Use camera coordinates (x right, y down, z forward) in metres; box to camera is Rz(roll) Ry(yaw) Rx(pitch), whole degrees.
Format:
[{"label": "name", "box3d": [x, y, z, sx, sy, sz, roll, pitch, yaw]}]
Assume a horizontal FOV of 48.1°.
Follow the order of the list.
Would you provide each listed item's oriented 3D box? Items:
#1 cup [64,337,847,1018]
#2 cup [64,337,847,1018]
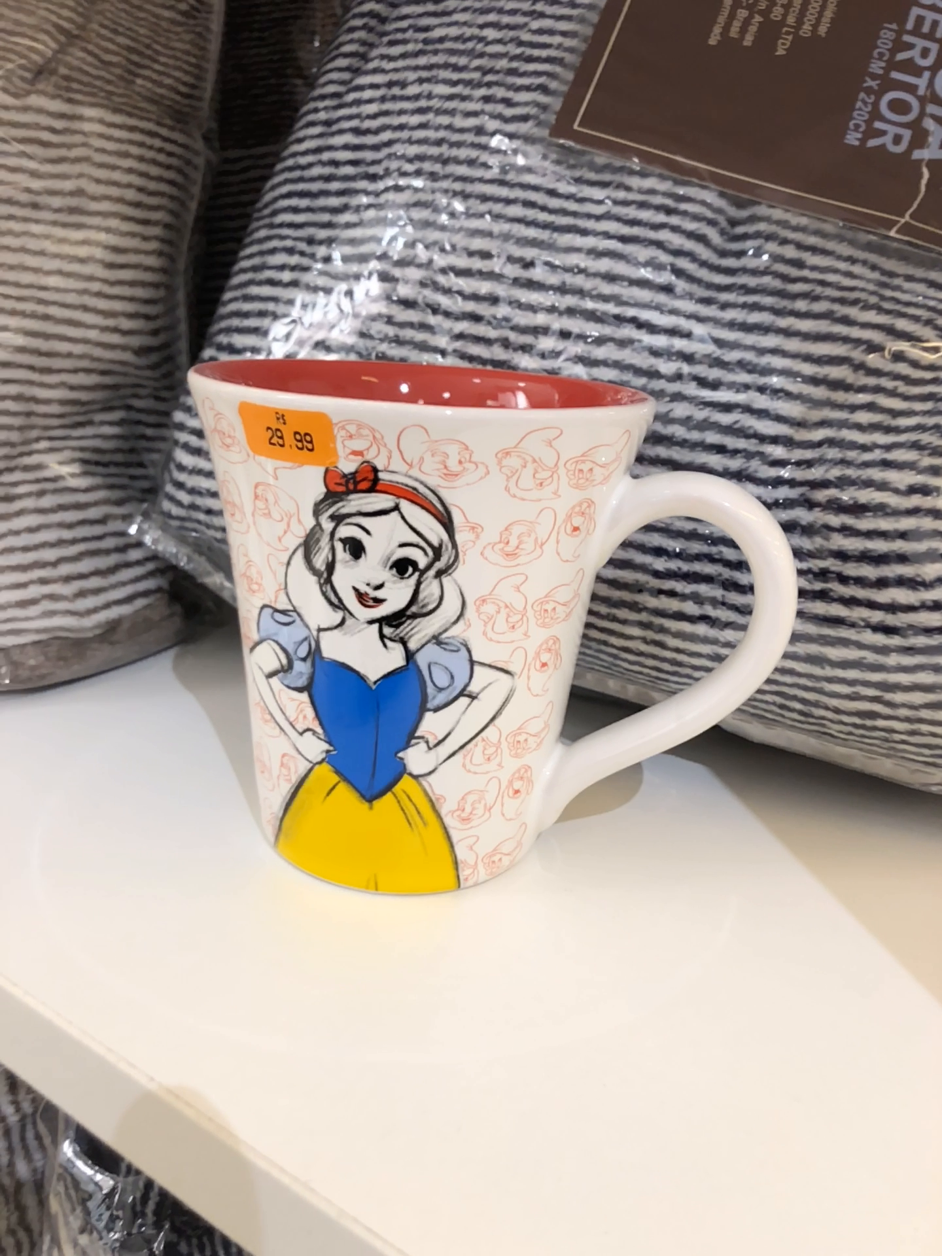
[{"label": "cup", "box3d": [0.003, -0.005, 0.206, 0.120, 0.089, 0.090, 9, 19, 17]}, {"label": "cup", "box3d": [0.003, -0.005, 0.206, 0.120, 0.089, 0.090, 9, 19, 17]}]
